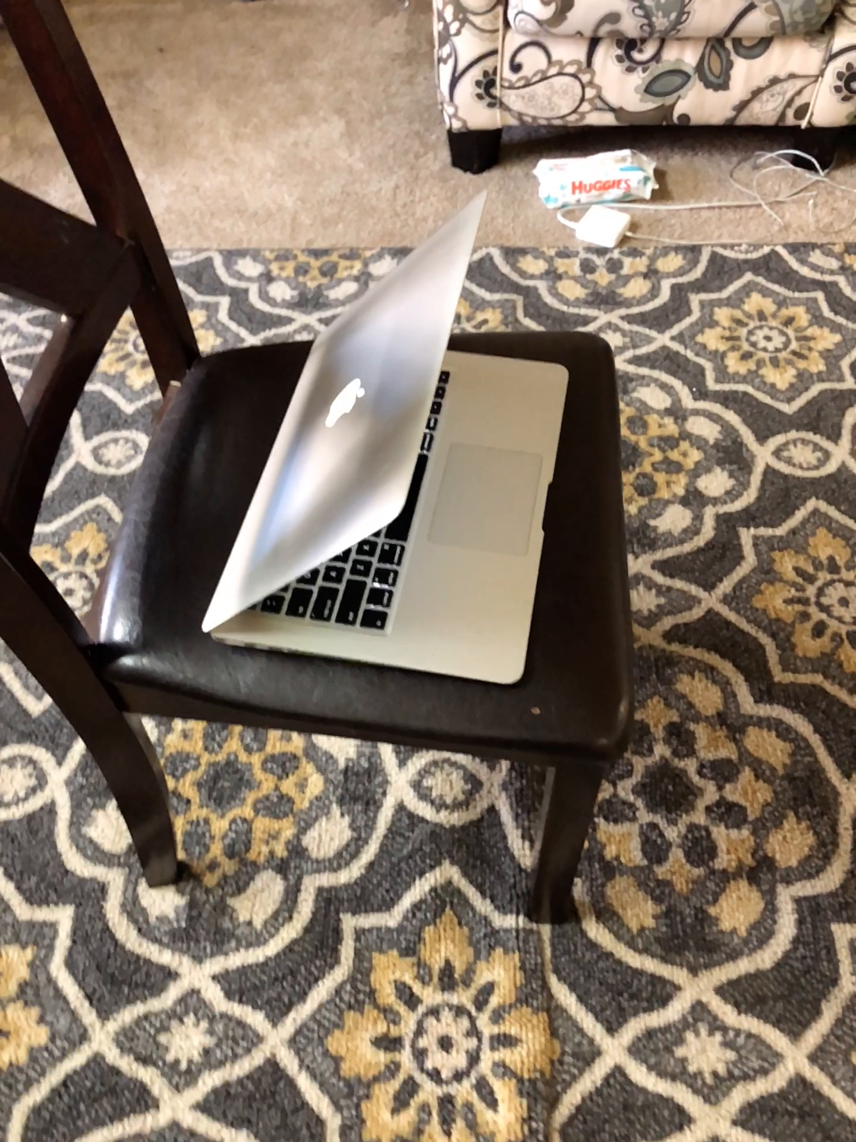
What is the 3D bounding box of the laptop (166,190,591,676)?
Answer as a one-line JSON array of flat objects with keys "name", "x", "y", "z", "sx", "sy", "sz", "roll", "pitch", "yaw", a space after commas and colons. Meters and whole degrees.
[{"name": "laptop", "x": -0.012, "y": -0.110, "z": 0.673, "sx": 0.215, "sy": 0.154, "sz": 0.304, "roll": 7, "pitch": 53, "yaw": 9}]
